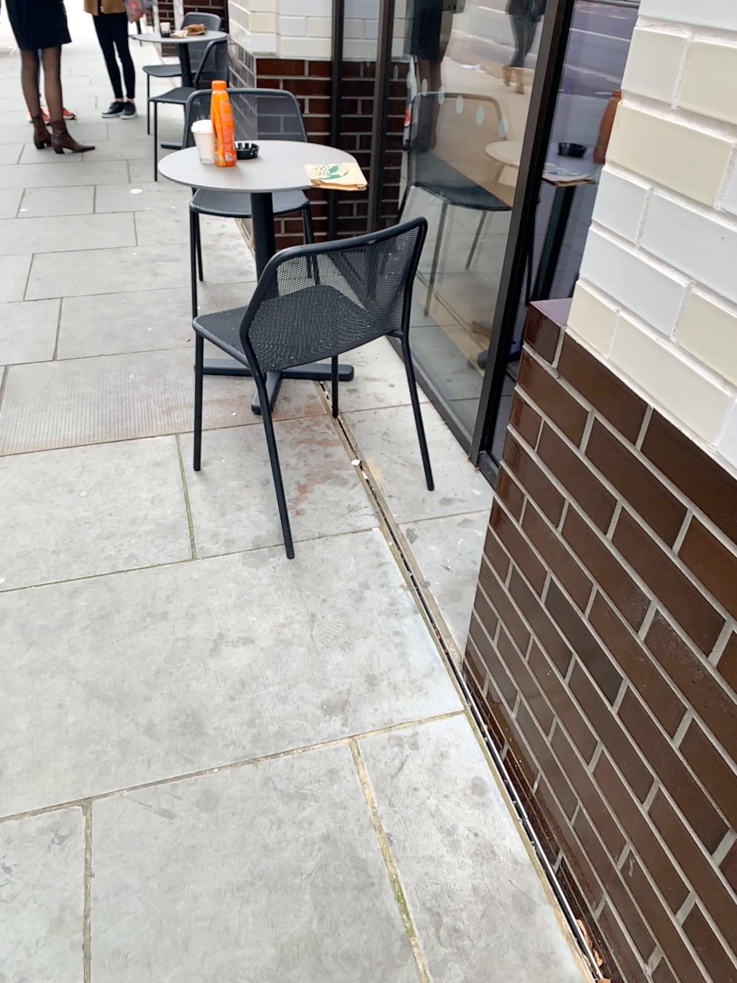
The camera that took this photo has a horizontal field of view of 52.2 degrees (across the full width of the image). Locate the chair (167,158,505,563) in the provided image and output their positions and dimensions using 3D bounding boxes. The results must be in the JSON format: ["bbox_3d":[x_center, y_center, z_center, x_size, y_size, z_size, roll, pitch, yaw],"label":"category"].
[{"bbox_3d":[-0.113,-0.371,1.995,0.592,0.797,0.543,-20,44,-31],"label":"chair"}]
